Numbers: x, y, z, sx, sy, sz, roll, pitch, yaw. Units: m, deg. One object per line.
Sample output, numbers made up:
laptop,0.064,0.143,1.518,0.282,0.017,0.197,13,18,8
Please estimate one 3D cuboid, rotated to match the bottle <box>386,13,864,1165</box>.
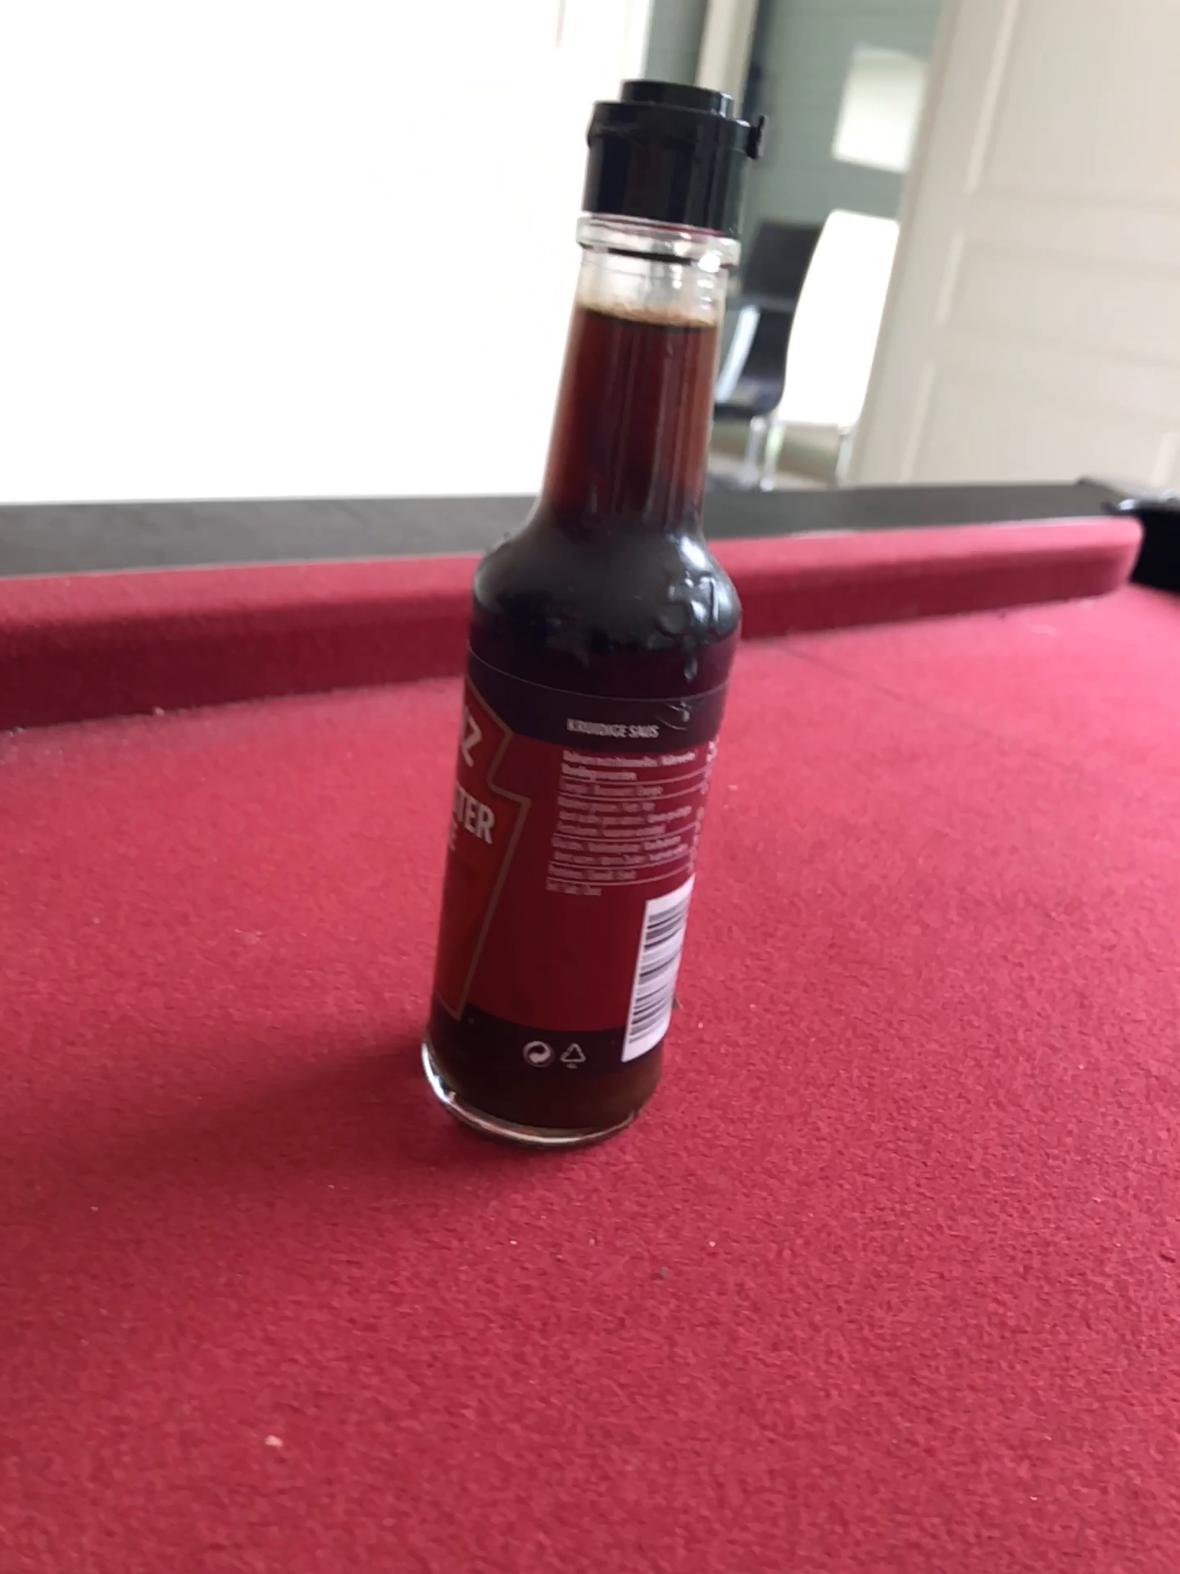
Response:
bottle,0.001,-0.026,0.231,0.050,0.179,0.050,7,21,-3
